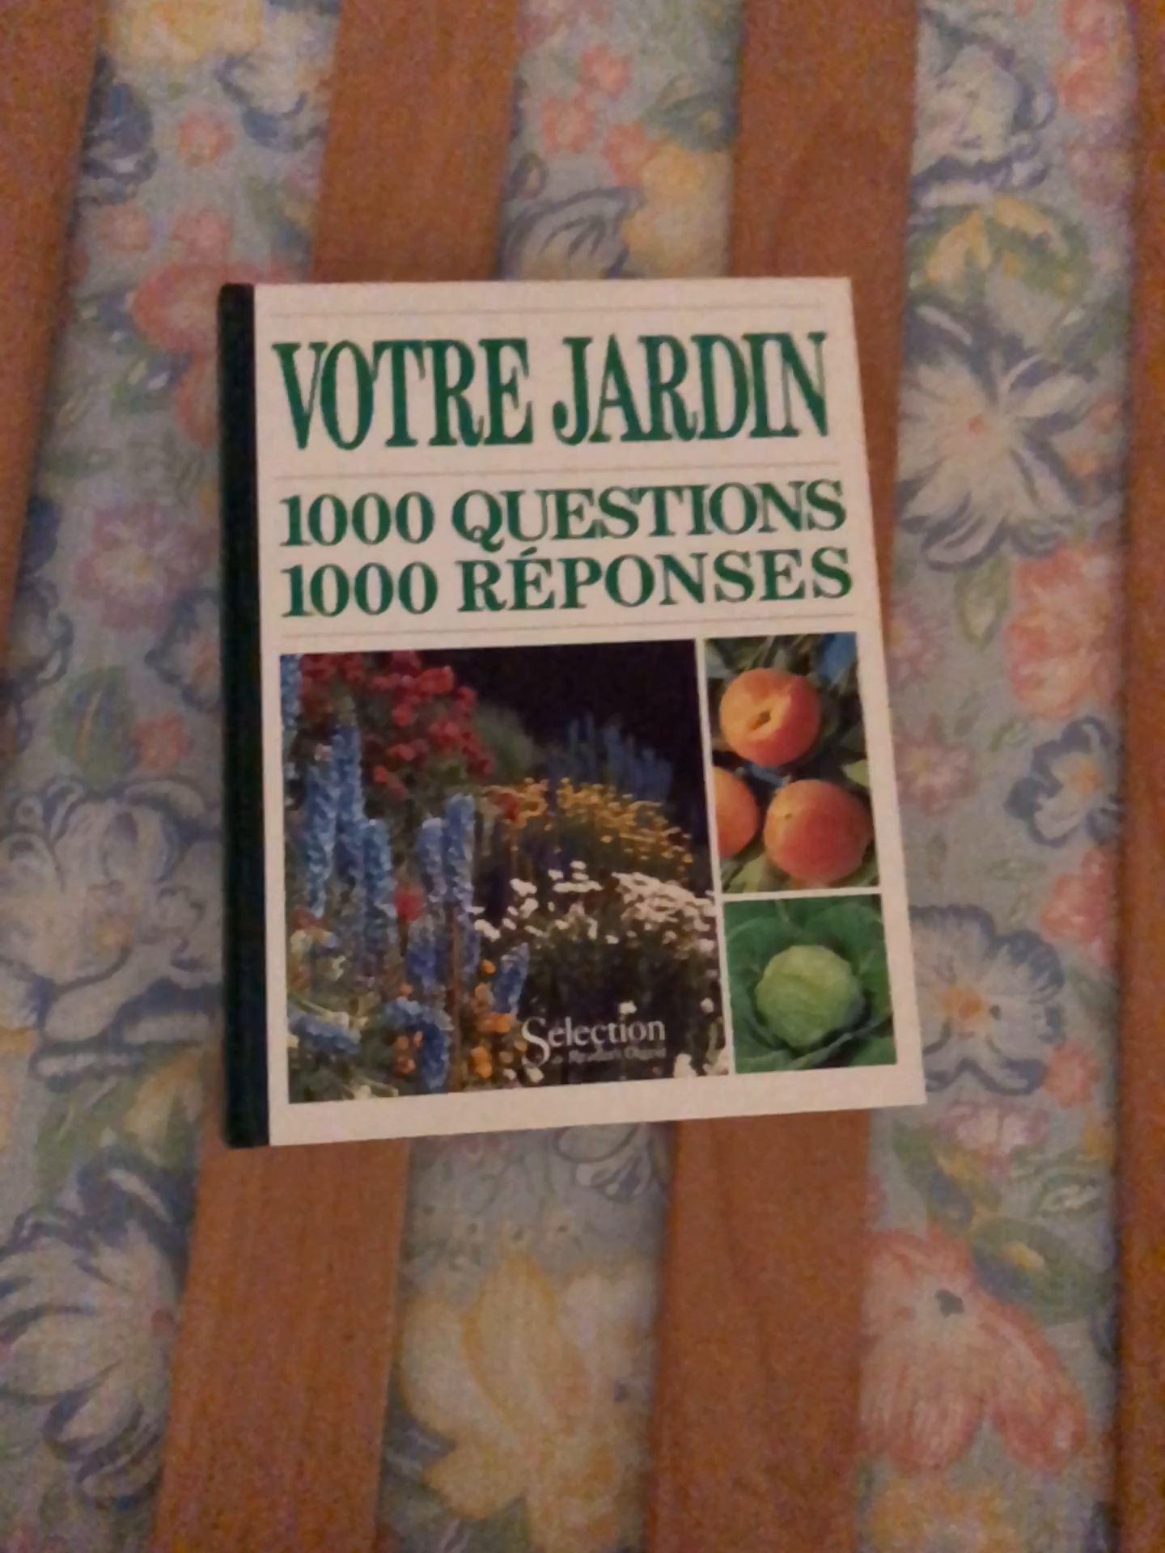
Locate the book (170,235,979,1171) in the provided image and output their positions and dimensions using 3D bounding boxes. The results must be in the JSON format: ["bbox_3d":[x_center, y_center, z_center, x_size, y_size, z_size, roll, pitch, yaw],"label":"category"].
[{"bbox_3d":[-0.008,-0.029,0.402,0.220,0.050,0.270,-3,81,-5],"label":"book"}]
